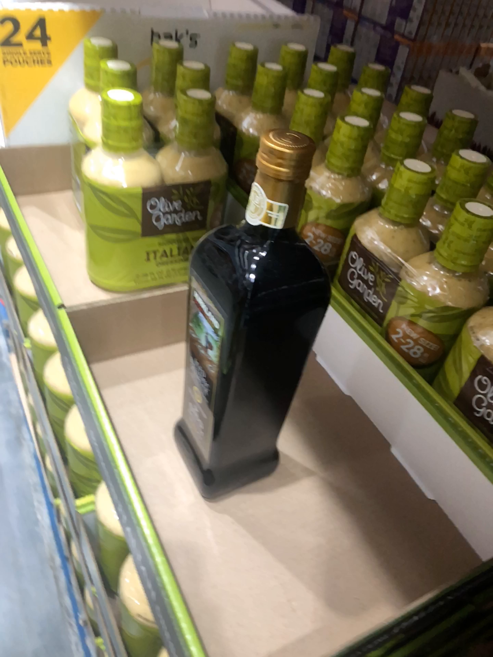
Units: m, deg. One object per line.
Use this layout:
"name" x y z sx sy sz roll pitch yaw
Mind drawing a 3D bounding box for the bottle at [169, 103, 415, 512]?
"bottle" 0.010 0.003 0.409 0.090 0.305 0.090 7 41 -6
